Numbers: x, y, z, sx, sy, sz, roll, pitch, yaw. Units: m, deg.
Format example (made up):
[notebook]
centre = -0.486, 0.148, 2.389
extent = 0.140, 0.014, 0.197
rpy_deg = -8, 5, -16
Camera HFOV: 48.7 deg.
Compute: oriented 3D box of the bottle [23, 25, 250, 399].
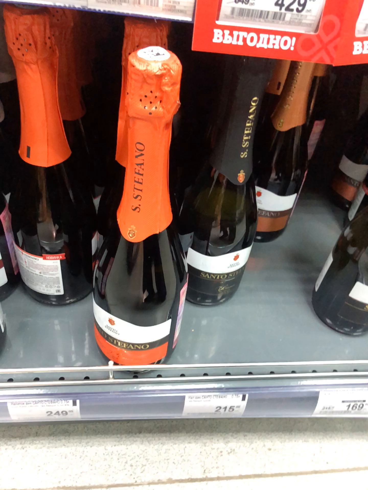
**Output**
[bottle]
centre = -0.041, -0.006, 0.352
extent = 0.100, 0.298, 0.100
rpy_deg = 5, 42, -4
